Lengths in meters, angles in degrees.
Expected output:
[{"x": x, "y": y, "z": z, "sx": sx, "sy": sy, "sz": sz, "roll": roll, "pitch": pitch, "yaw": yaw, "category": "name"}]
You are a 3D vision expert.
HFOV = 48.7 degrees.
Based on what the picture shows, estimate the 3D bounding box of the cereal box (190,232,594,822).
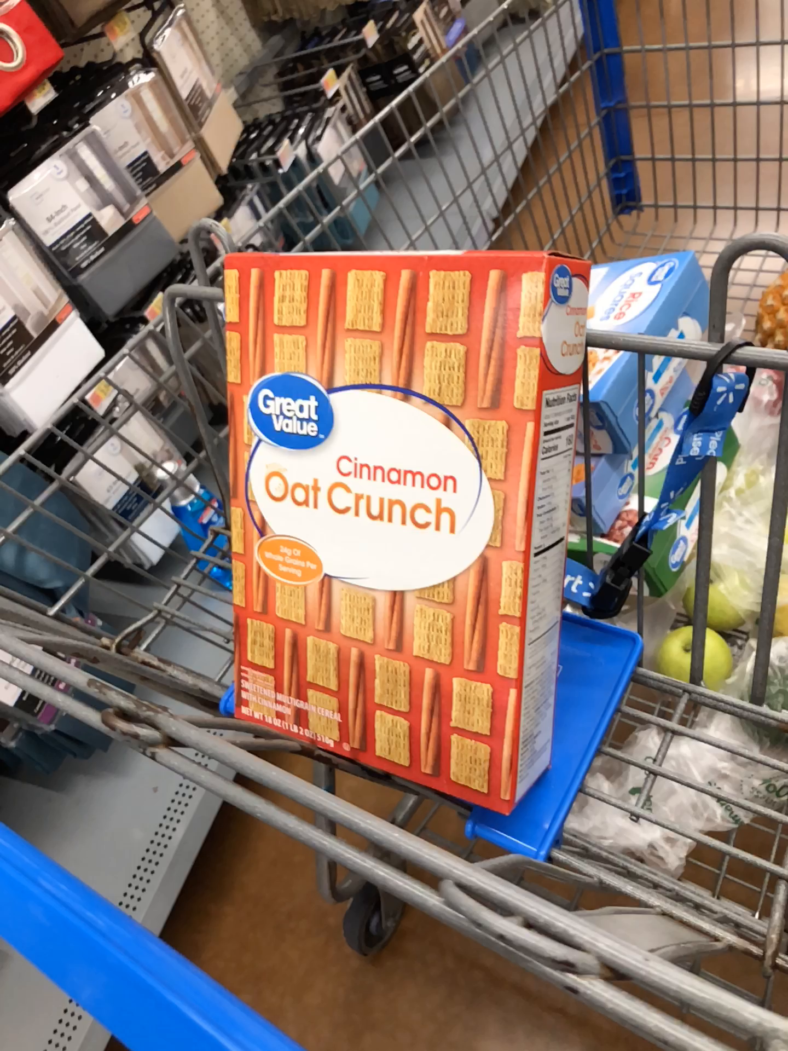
[{"x": -0.011, "y": -0.011, "z": 0.480, "sx": 0.200, "sy": 0.280, "sz": 0.070, "roll": 11, "pitch": 17, "yaw": 31, "category": "cereal box"}]
